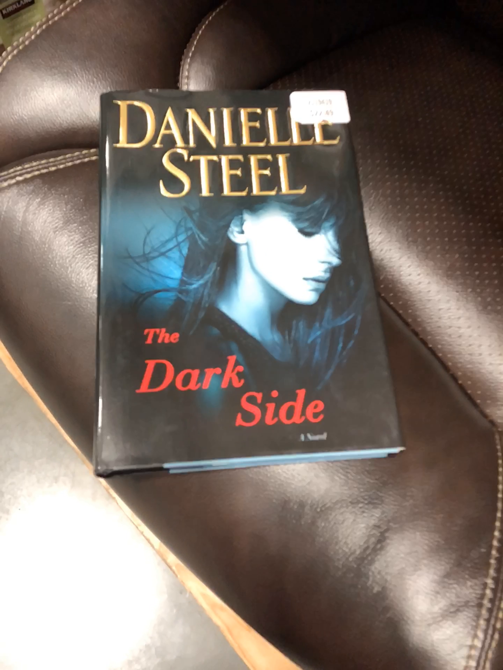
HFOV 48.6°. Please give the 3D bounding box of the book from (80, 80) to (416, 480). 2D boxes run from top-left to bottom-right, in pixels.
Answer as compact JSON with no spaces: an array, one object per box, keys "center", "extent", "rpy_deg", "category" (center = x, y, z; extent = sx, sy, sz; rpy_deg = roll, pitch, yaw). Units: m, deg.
[{"center":[-0.010,-0.043,0.333],"extent":[0.168,0.040,0.237],"rpy_deg":[-3,71,-5],"category":"book"}]
